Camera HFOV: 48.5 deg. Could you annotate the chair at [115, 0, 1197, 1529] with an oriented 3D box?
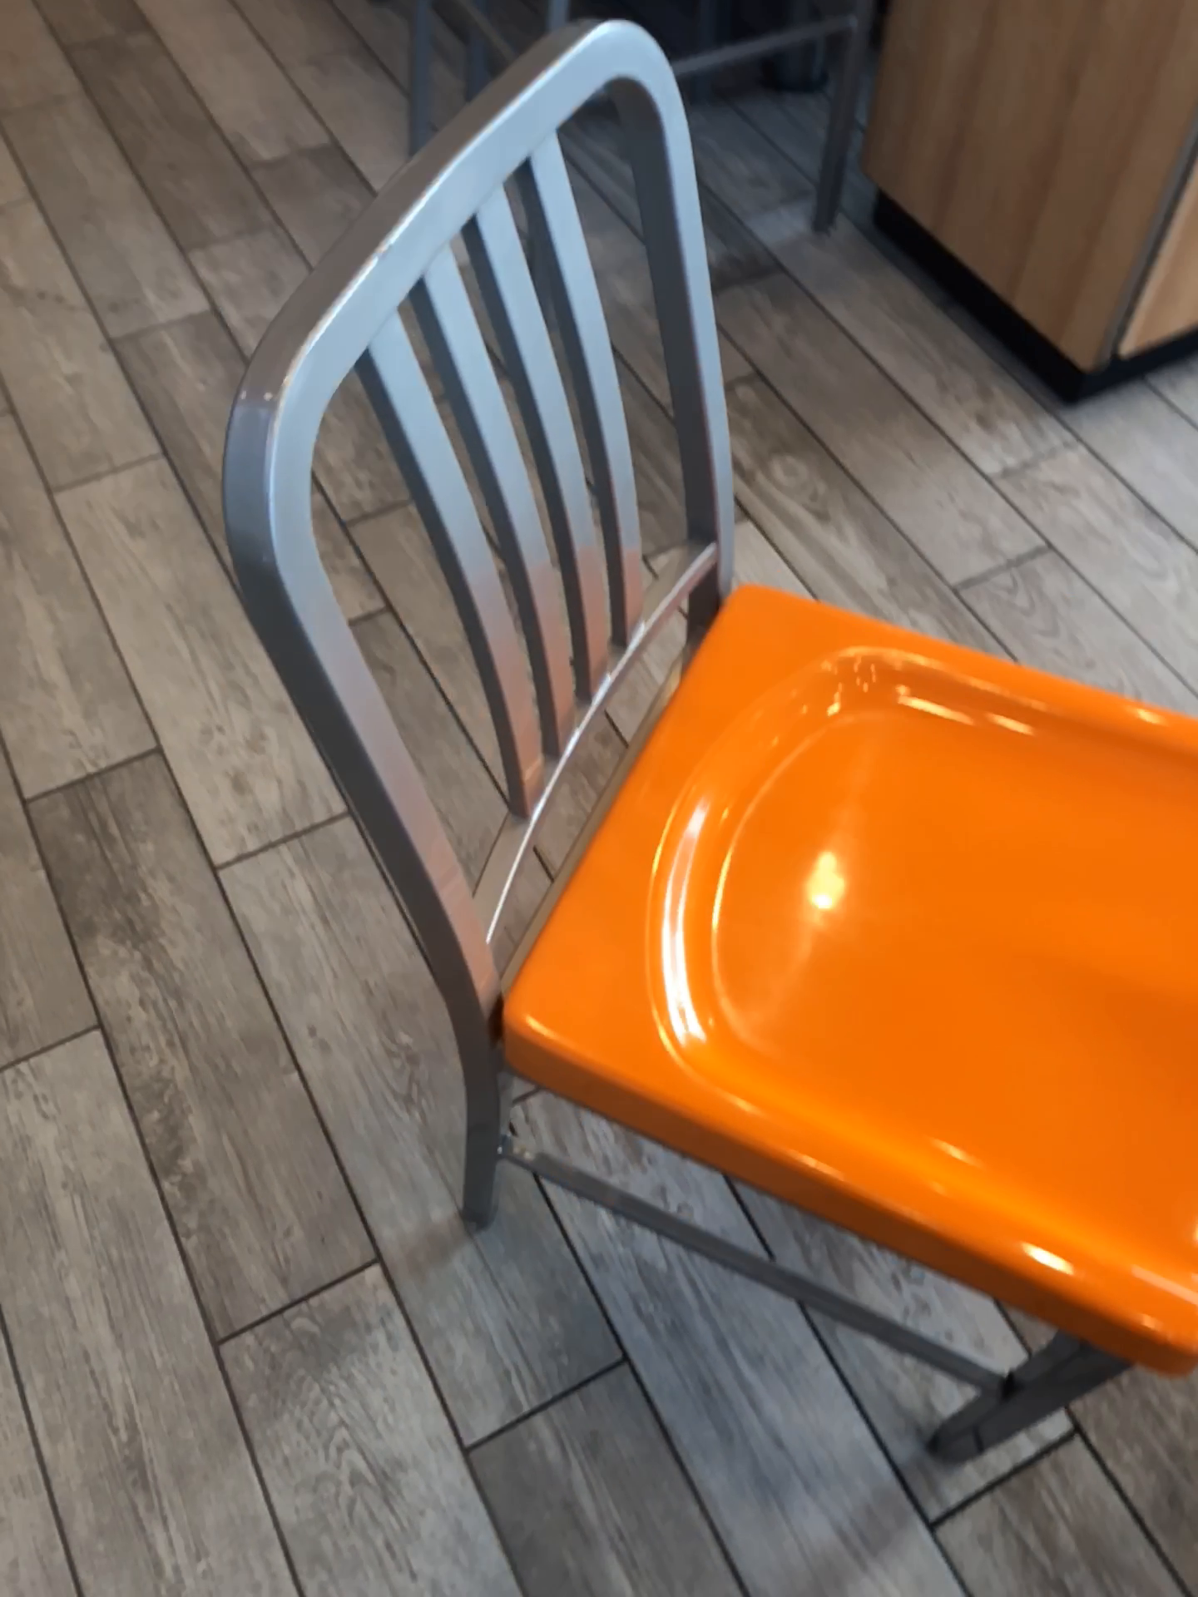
[{"bbox_3d":[0.186,0.033,0.789,0.510,0.818,0.471,22,59,13],"label":"chair"}]
